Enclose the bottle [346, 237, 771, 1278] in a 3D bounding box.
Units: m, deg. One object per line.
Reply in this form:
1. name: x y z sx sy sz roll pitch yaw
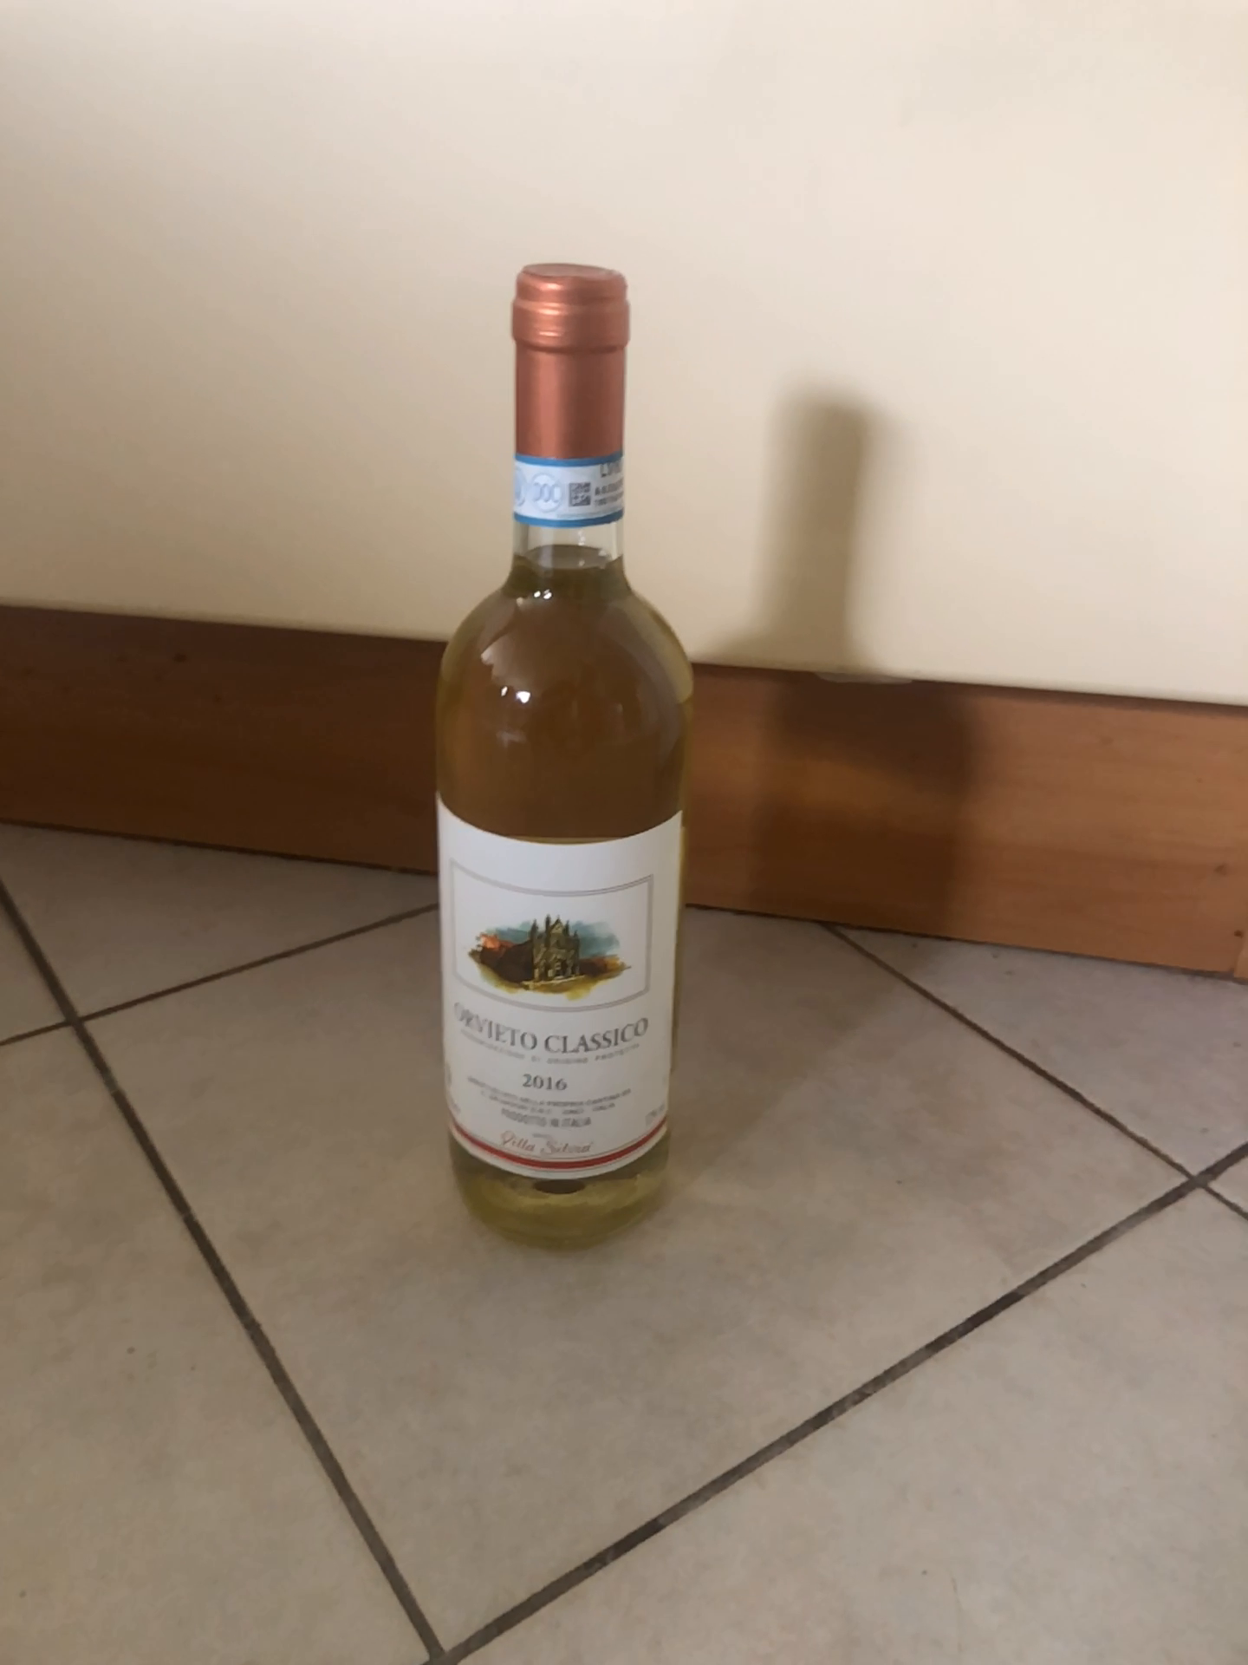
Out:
1. bottle: -0.017 -0.012 0.407 0.090 0.288 0.091 2 29 -1
